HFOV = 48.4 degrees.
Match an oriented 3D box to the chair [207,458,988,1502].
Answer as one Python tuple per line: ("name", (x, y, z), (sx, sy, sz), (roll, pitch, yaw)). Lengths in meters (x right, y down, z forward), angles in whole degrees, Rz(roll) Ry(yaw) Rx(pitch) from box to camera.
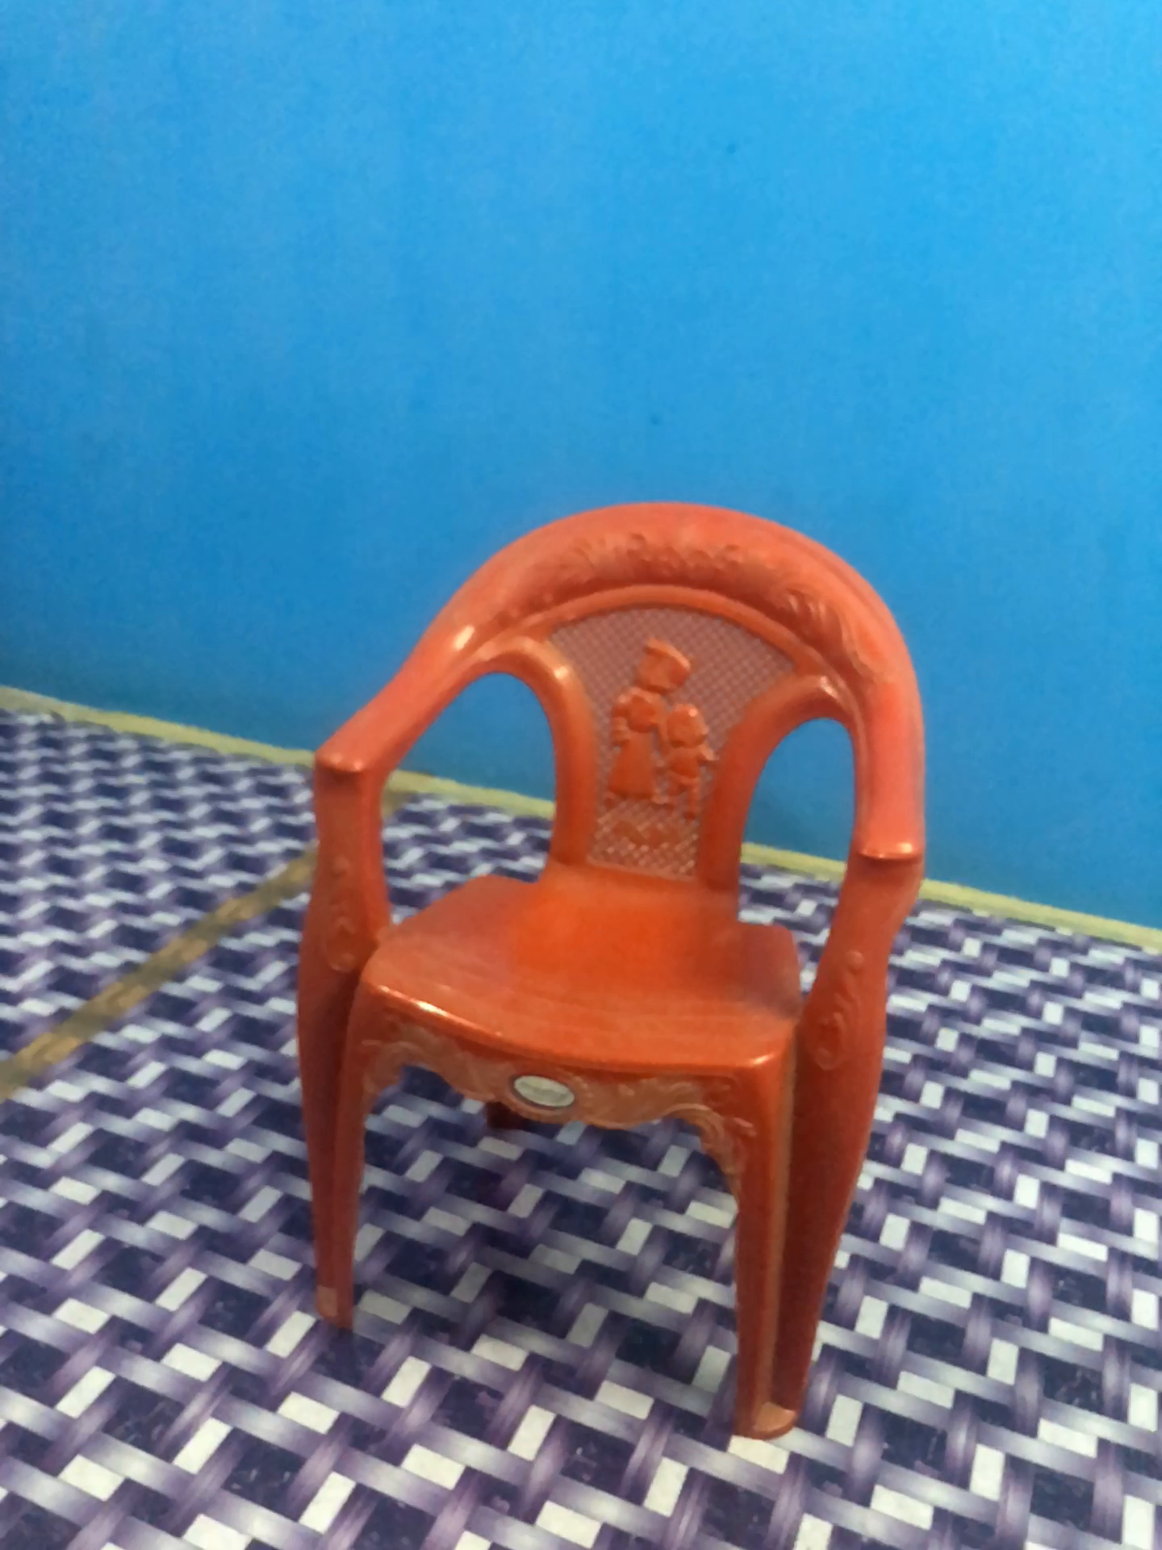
("chair", (0.030, 0.103, 0.937), (0.410, 0.557, 0.382), (10, 24, 15))
